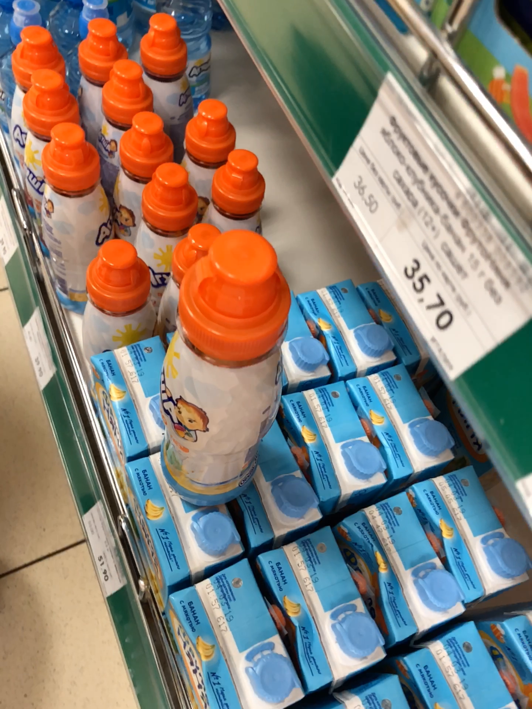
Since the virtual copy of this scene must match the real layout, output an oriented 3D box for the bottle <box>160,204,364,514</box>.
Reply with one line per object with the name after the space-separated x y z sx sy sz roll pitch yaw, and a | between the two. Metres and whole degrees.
-0.017 0.019 0.274 0.053 0.193 0.056 5 61 -9 | bottle
